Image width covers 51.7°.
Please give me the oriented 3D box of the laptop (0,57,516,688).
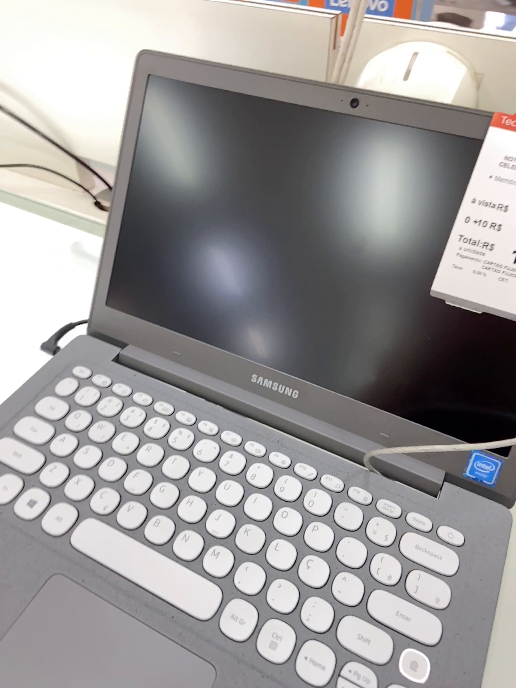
[{"bbox_3d":[-0.015,0.015,0.273,0.325,0.172,0.342,19,48,20],"label":"laptop"}]
